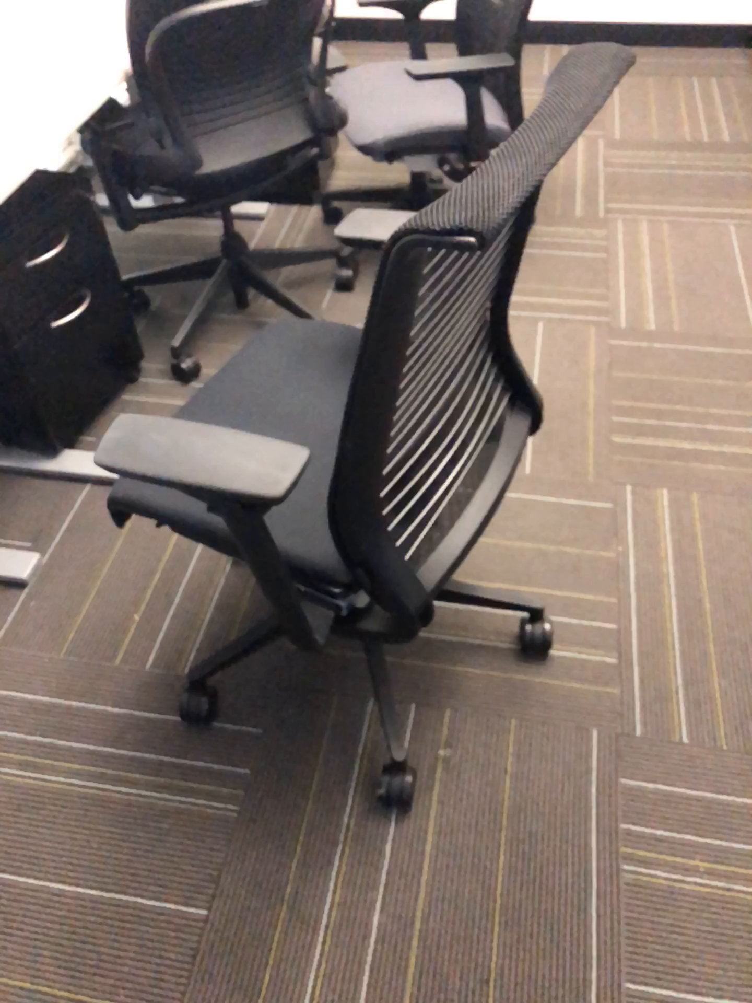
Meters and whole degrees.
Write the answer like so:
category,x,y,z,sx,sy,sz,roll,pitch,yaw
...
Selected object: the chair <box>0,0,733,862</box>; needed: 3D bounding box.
category,x,y,z,sx,sy,sz,roll,pitch,yaw
chair,-0.006,-0.157,1.218,0.661,0.995,0.752,16,49,19
